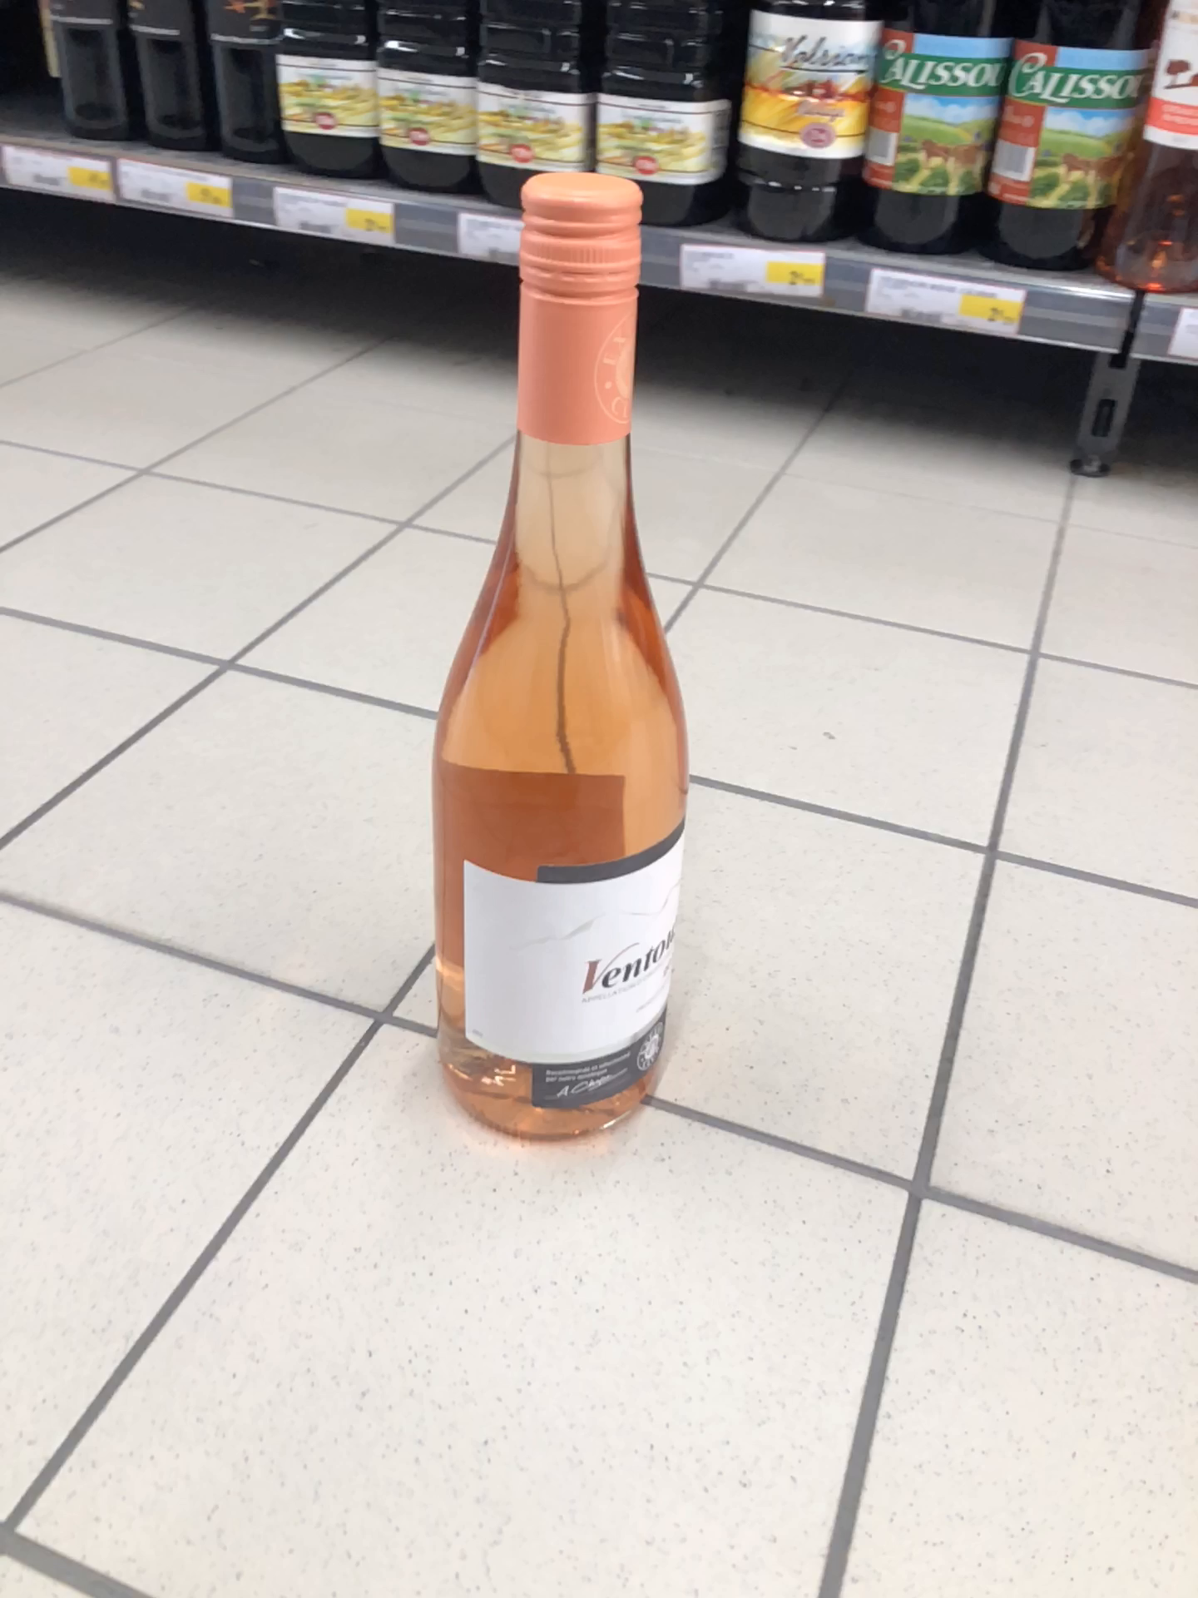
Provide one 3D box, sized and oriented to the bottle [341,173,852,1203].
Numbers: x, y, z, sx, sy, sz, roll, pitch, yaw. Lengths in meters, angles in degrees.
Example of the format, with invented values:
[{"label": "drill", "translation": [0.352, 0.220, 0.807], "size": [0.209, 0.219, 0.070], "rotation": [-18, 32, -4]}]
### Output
[{"label": "bottle", "translation": [-0.006, -0.022, 0.387], "size": [0.090, 0.278, 0.080], "rotation": [-25, 43, -35]}]
